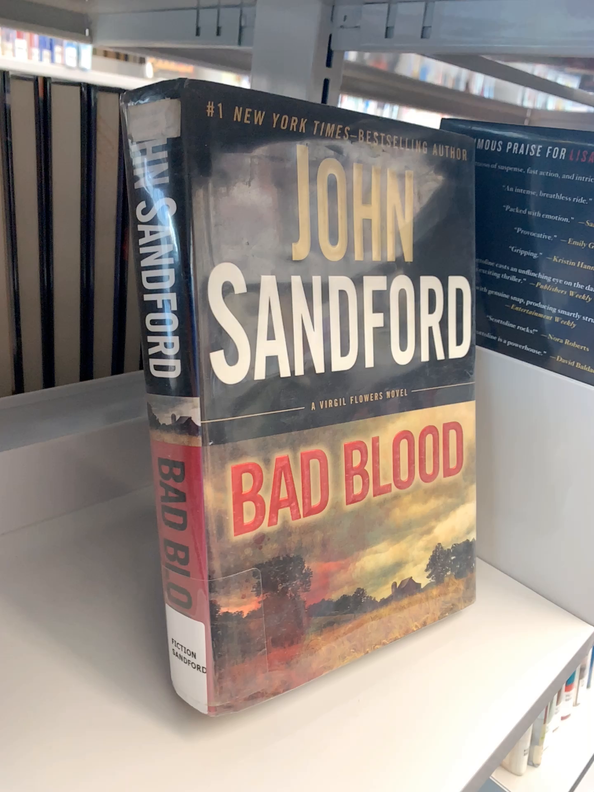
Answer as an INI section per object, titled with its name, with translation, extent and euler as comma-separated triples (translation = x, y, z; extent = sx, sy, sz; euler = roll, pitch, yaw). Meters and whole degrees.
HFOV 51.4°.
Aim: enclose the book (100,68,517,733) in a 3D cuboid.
[book]
translation = 0.016, -0.002, 0.261
extent = 0.165, 0.215, 0.050
euler = -9, 13, -34
